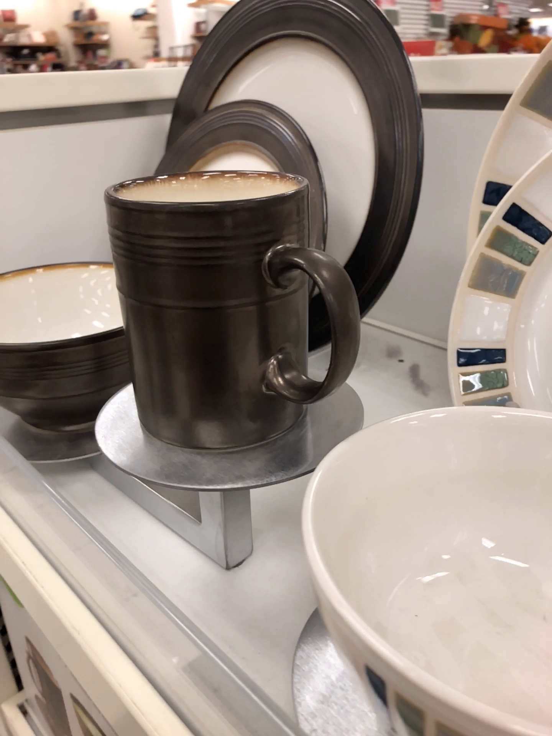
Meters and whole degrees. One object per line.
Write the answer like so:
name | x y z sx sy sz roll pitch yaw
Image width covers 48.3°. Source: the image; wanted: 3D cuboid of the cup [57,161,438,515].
cup | -0.011 -0.024 0.257 0.119 0.102 0.083 17 31 33
